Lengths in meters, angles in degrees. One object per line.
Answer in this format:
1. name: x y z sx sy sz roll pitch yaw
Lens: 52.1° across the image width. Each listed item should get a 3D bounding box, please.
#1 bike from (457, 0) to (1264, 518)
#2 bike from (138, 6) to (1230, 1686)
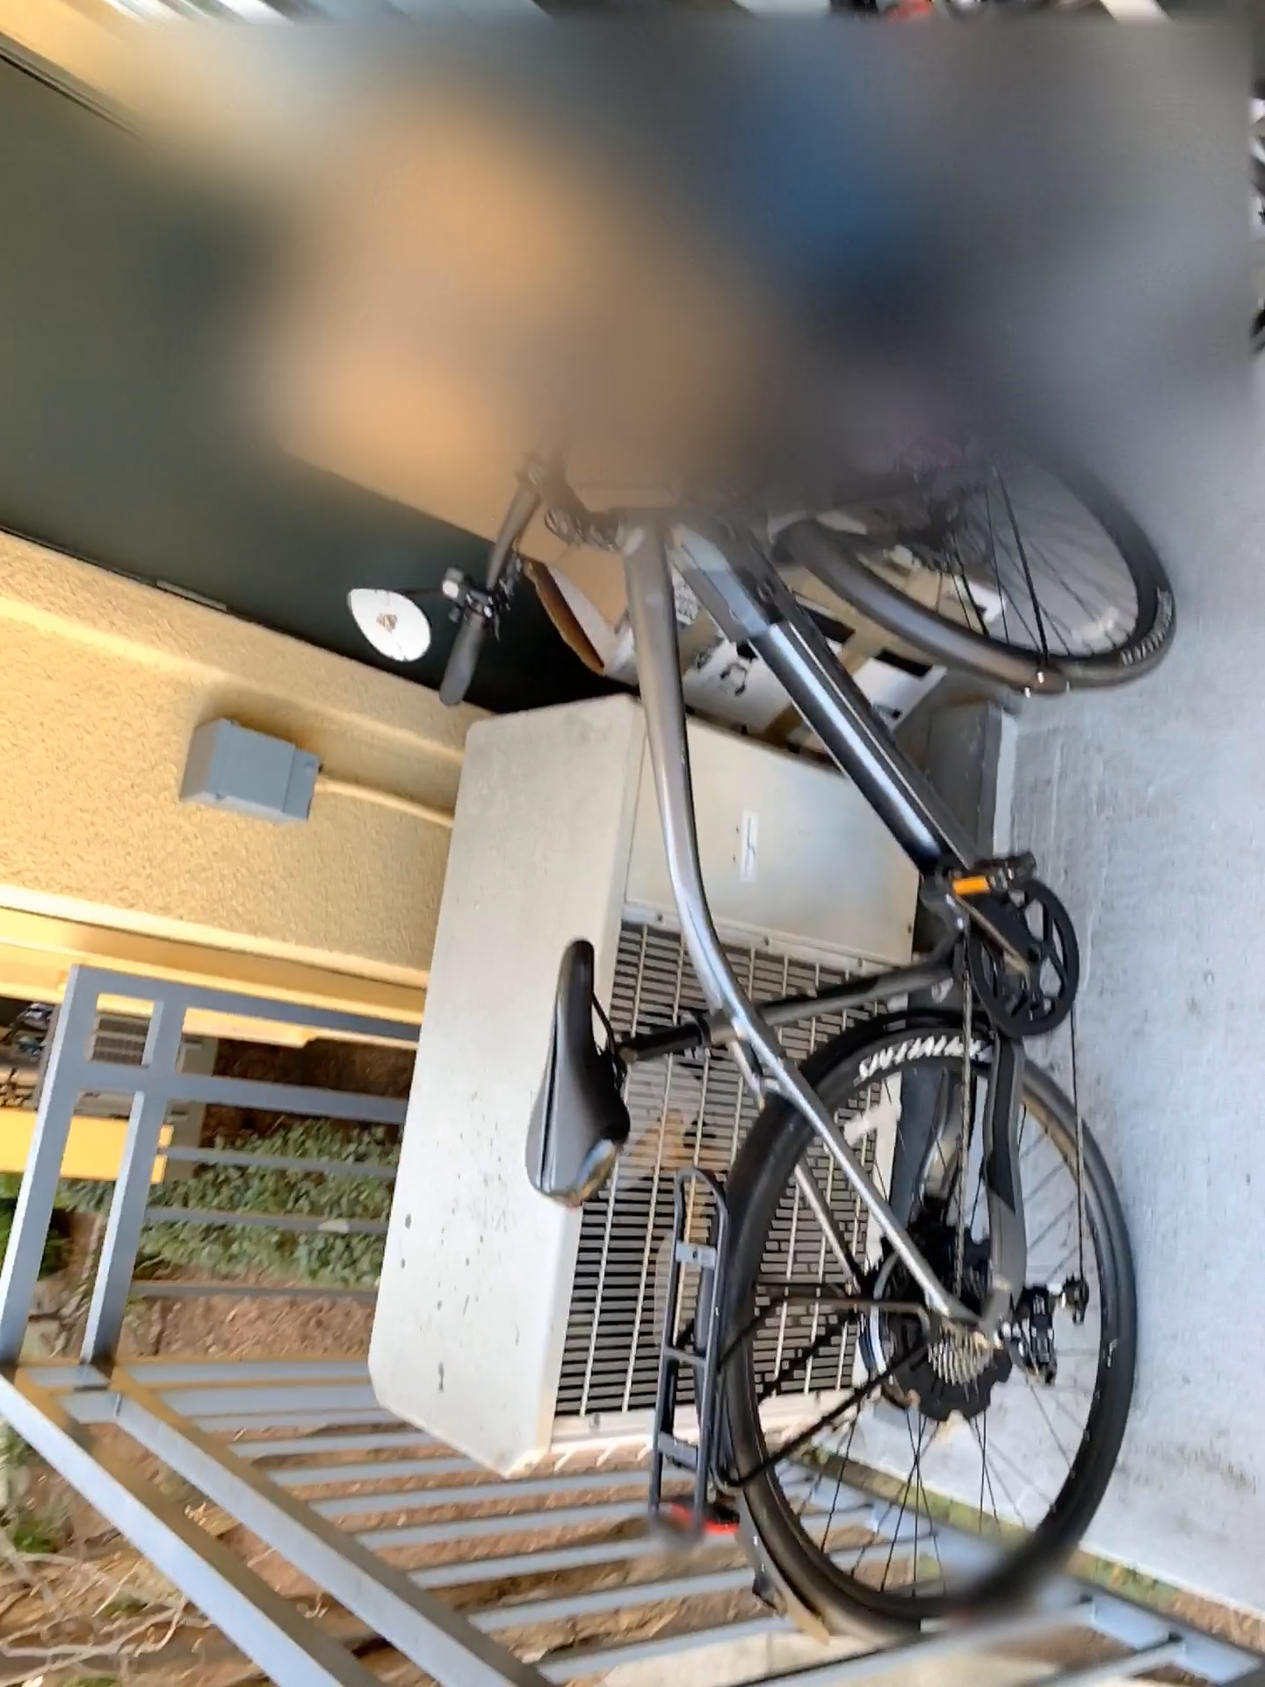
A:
1. bike: 0.722 -0.739 1.204 1.512 0.930 0.362 5 80 46
2. bike: 0.130 0.041 1.599 0.626 0.969 1.583 -16 63 46
